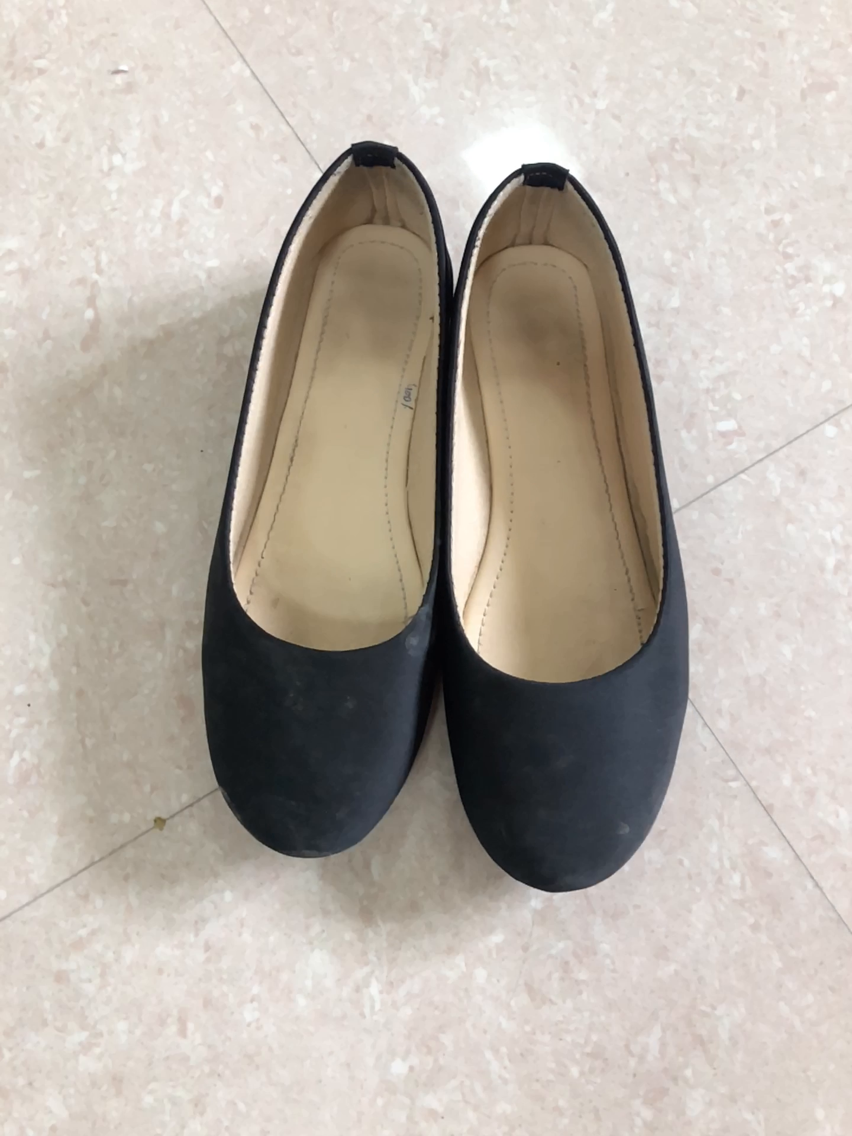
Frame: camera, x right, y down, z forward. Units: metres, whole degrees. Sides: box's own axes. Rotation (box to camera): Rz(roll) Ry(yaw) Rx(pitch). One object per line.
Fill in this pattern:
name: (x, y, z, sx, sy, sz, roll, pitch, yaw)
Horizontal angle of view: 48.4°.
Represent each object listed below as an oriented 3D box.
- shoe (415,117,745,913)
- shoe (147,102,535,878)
shoe: (0.044, -0.021, 0.317, 0.090, 0.060, 0.250, 0, 77, 2)
shoe: (-0.021, -0.030, 0.331, 0.090, 0.060, 0.250, 6, 77, 3)
